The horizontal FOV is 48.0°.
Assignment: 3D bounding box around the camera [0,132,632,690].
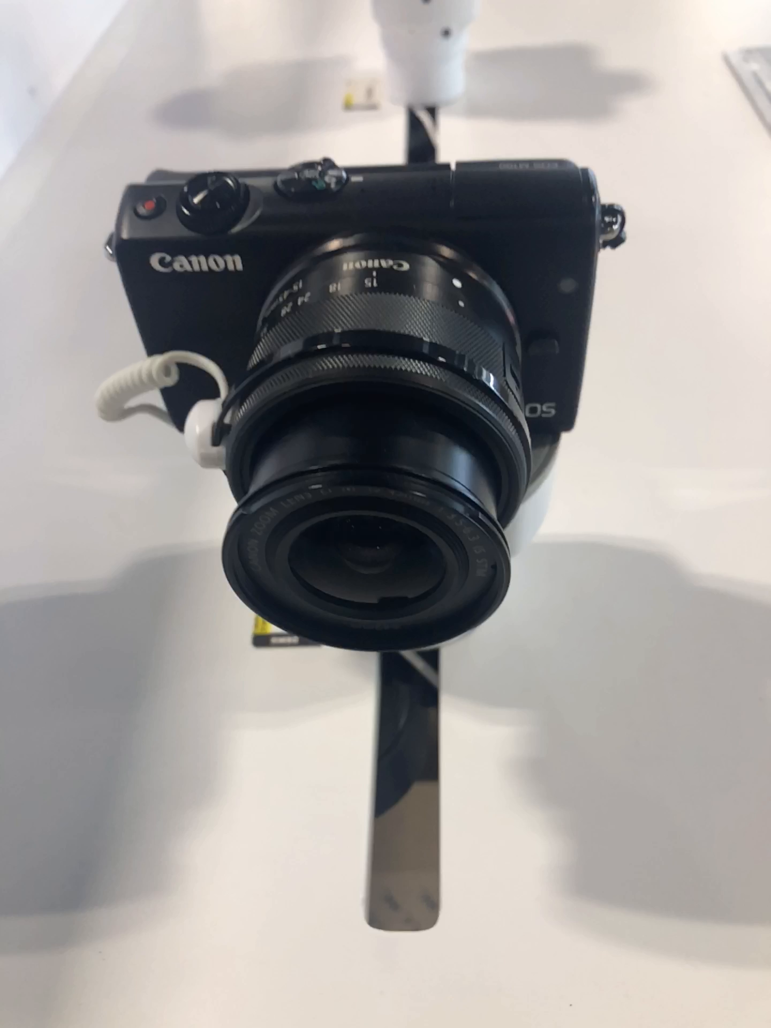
[{"bbox_3d":[-0.013,-0.023,0.185,0.110,0.072,0.091,1,48,7],"label":"camera"}]
